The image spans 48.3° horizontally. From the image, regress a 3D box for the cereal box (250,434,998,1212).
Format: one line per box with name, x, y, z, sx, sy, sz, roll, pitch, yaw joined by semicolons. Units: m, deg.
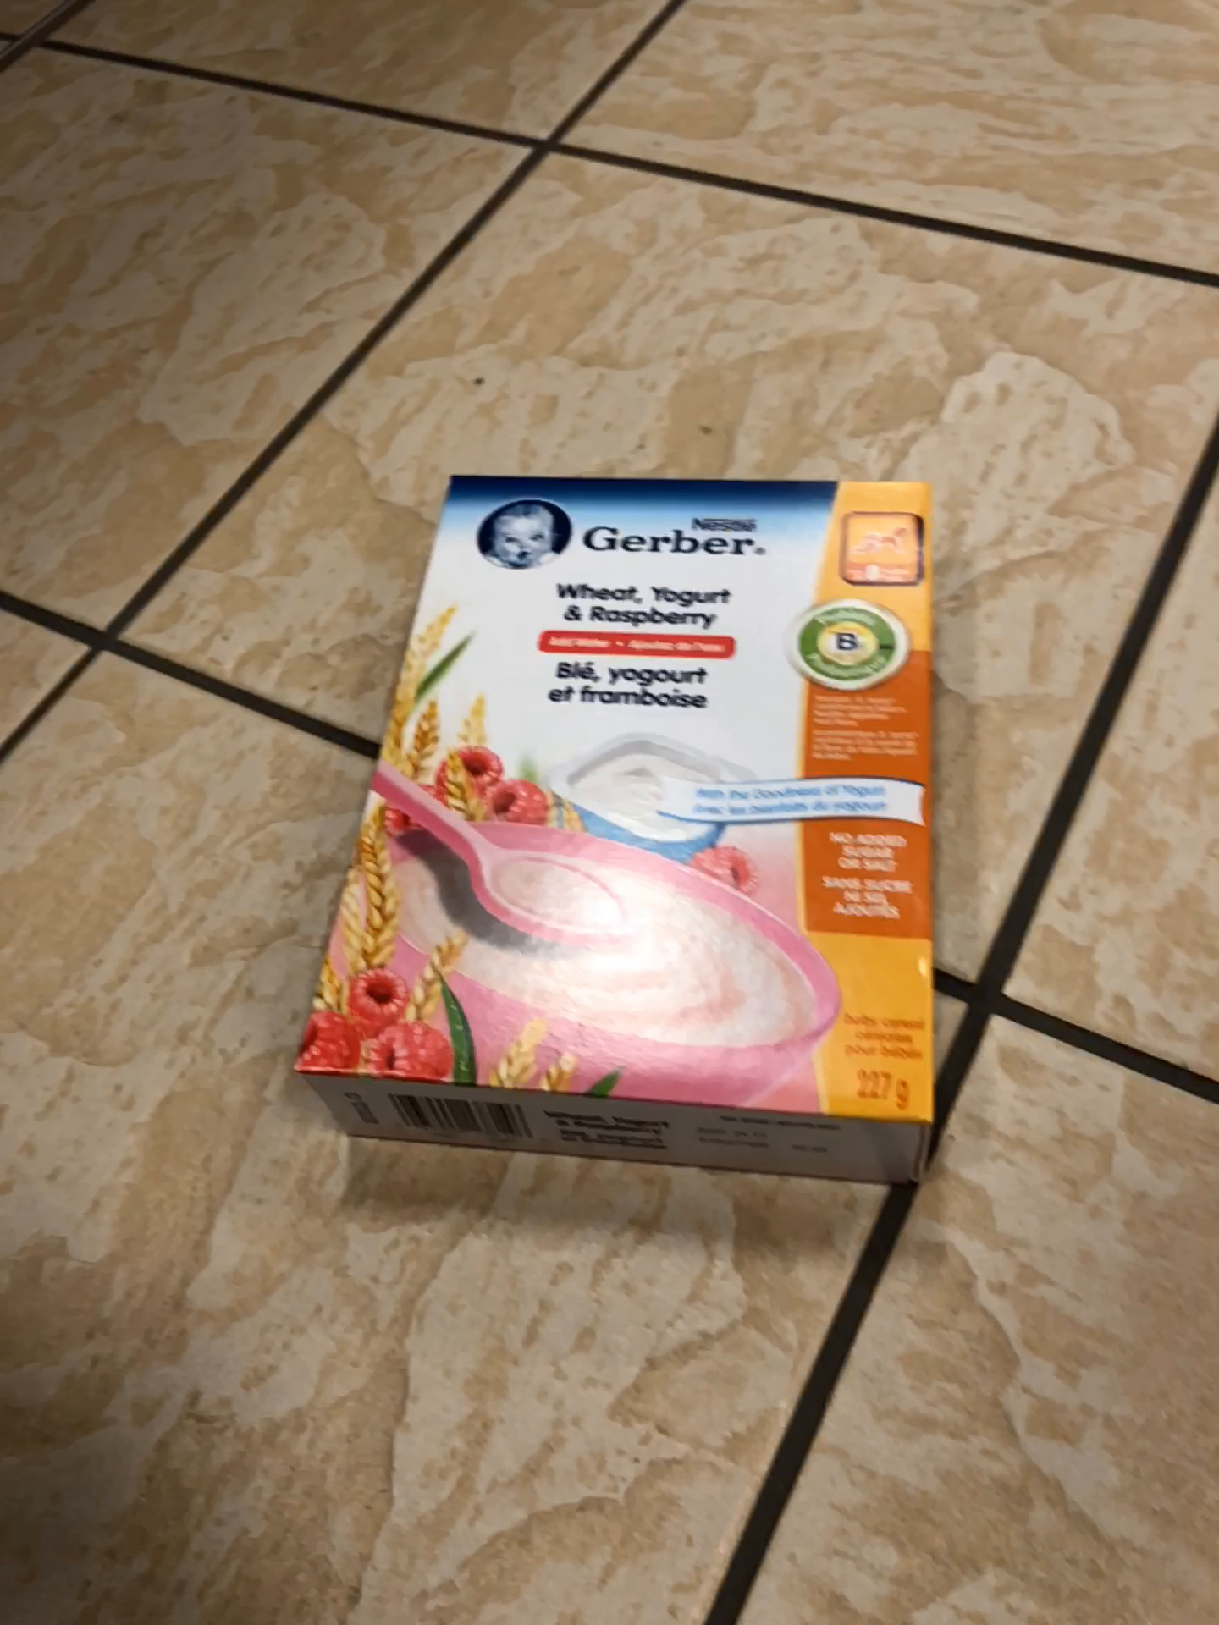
cereal box;0.015;-0.012;0.366;0.160;0.050;0.210;2;56;9
